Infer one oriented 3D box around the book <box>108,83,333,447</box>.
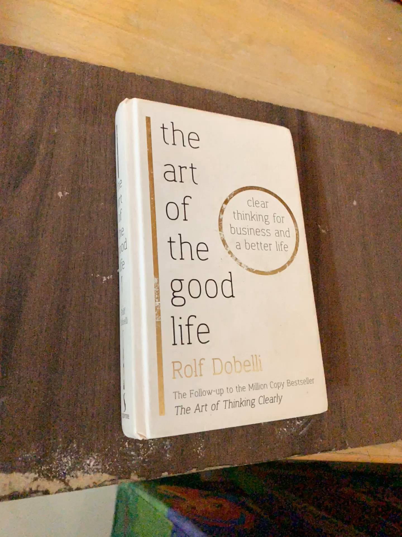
[{"bbox_3d":[0.009,-0.004,0.243,0.117,0.037,0.180,2,78,-23],"label":"book"}]
